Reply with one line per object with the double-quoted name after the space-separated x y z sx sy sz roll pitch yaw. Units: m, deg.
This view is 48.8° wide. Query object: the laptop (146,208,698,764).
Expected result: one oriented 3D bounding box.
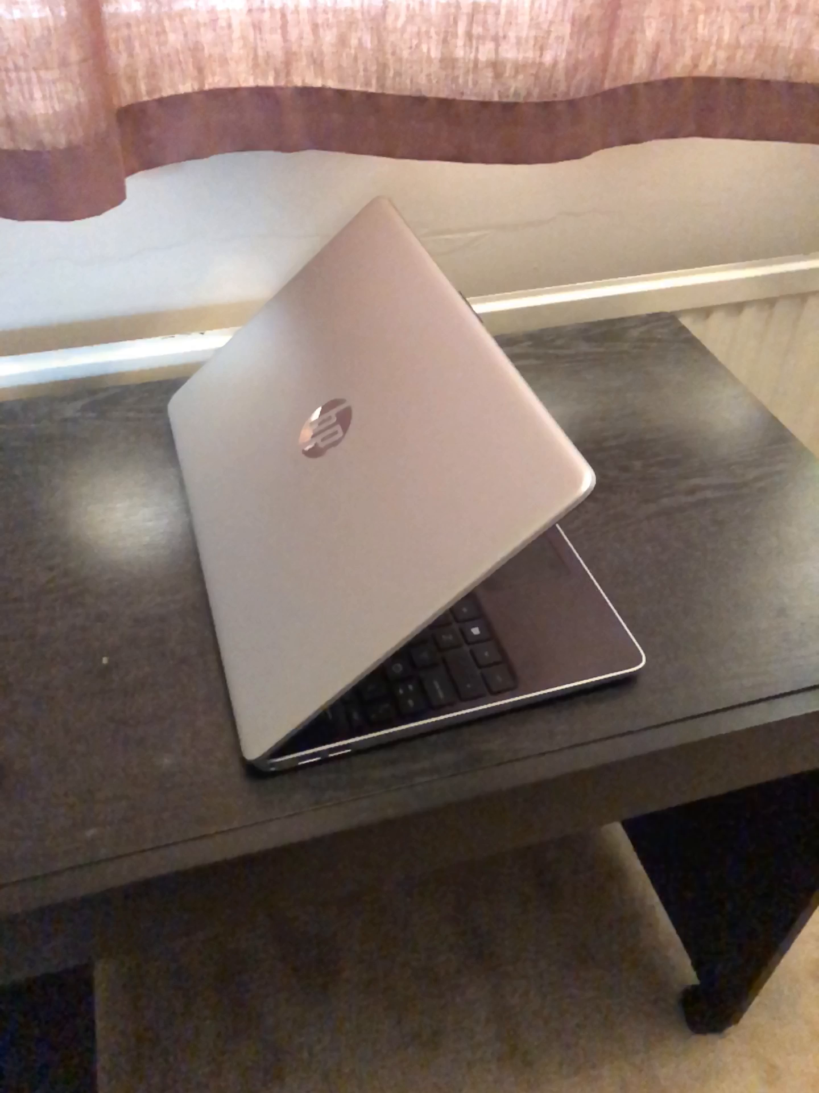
-0.021 -0.076 0.595 0.237 0.141 0.363 -11 43 -16 "laptop"
